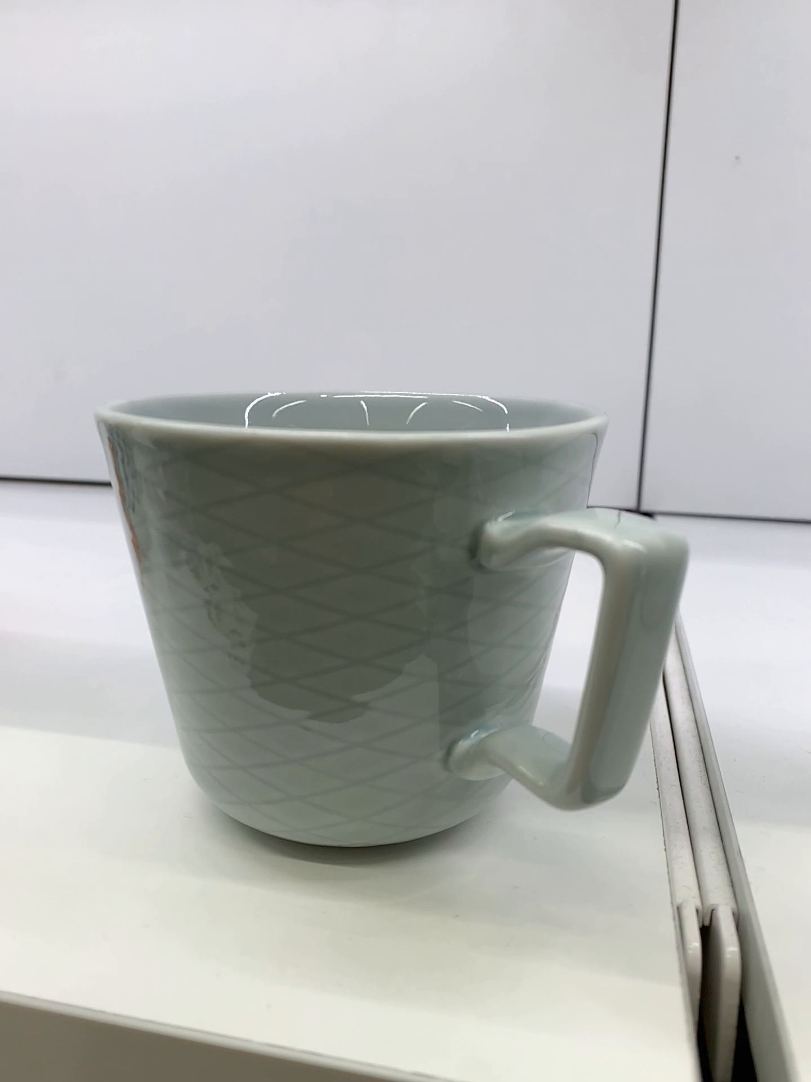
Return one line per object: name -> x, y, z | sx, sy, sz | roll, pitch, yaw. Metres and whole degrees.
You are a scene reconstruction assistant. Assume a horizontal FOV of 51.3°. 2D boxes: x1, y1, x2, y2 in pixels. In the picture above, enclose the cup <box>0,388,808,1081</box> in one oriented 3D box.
cup -> -0.007, 0.015, 0.177 | 0.109, 0.089, 0.124 | -10, 16, -41
